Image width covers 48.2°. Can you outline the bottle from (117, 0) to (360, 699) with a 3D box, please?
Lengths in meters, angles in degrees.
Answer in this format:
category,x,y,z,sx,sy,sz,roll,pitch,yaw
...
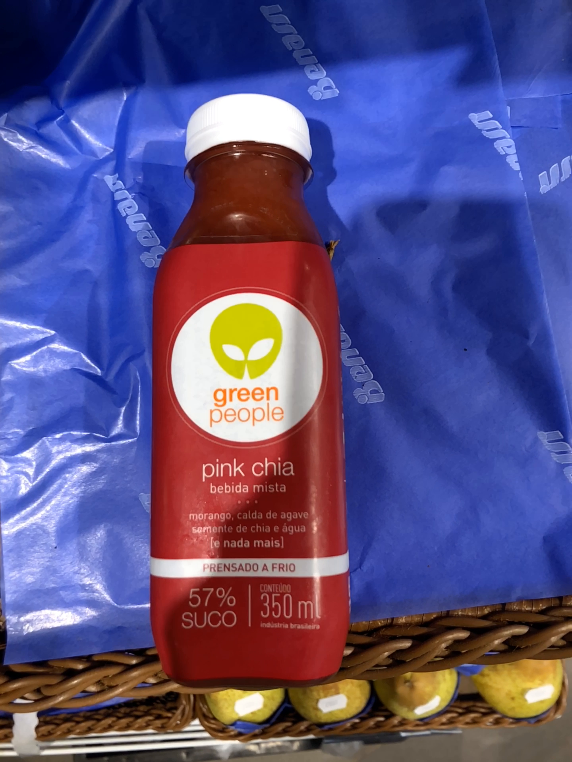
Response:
category,x,y,z,sx,sy,sz,roll,pitch,yaw
bottle,-0.011,-0.011,0.202,0.060,0.060,0.190,-3,80,7
